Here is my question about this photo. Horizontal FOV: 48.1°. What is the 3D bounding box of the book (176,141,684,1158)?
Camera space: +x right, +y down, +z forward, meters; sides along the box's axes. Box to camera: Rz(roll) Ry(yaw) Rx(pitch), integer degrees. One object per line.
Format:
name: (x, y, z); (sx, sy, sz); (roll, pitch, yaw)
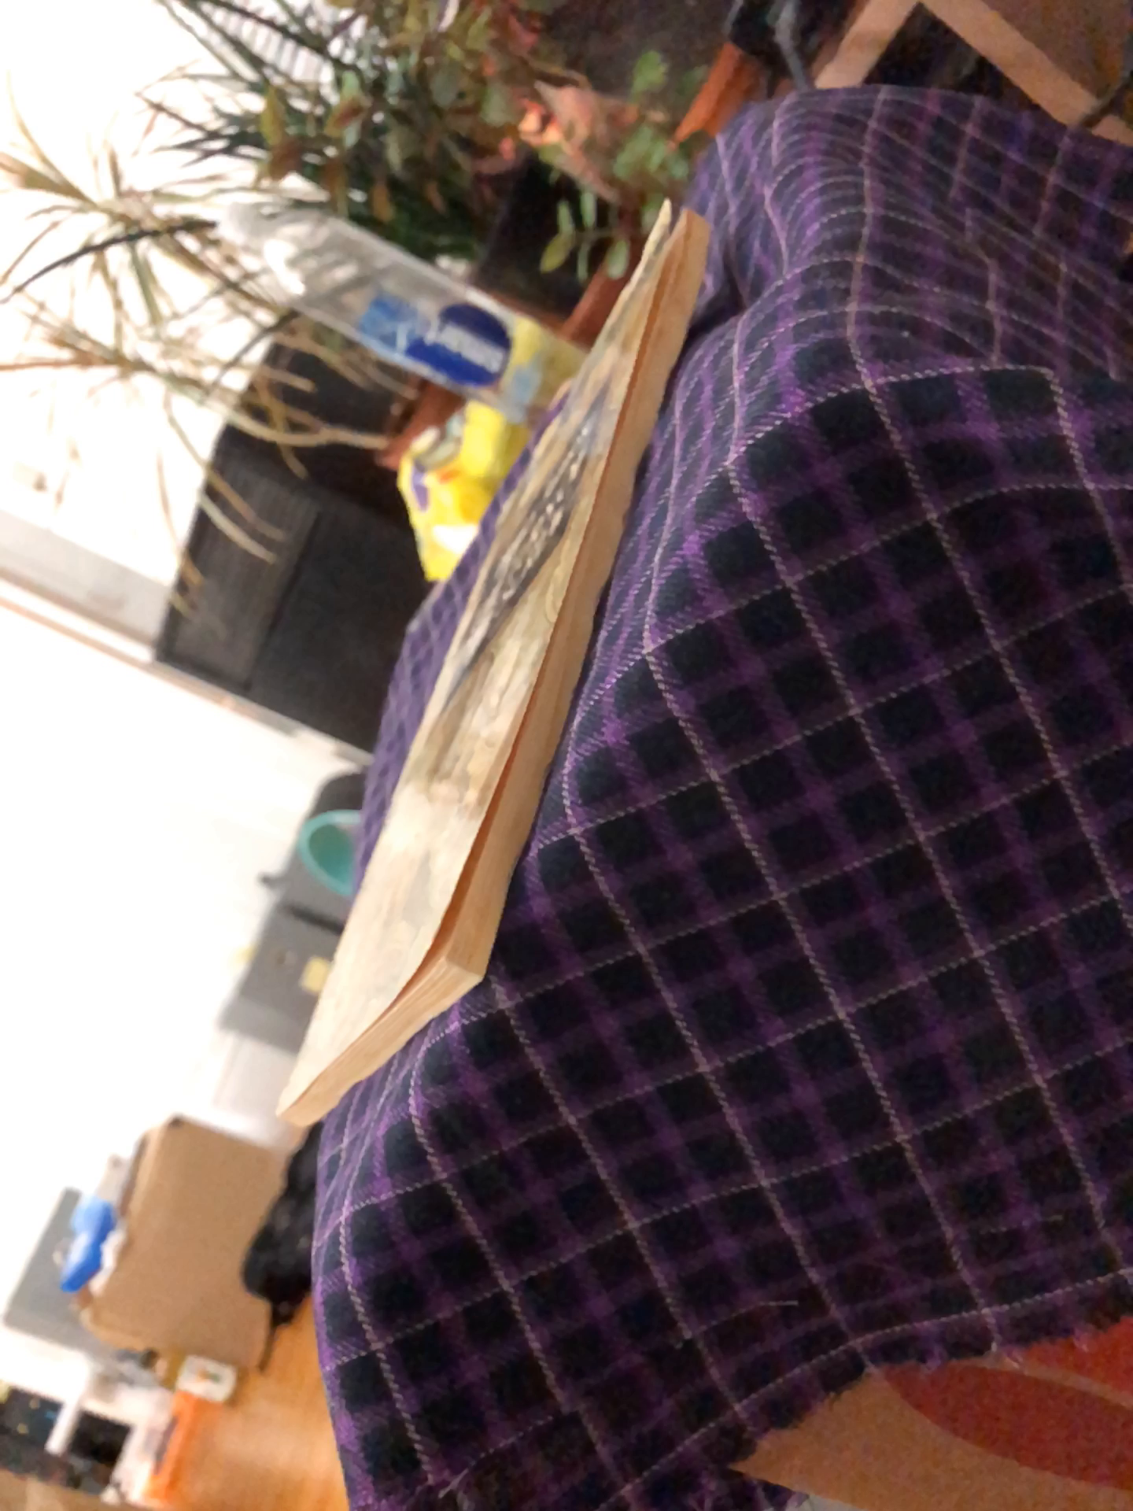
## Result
book: (-0.031, -0.026, 0.299); (0.140, 0.010, 0.220); (-47, 22, 54)
